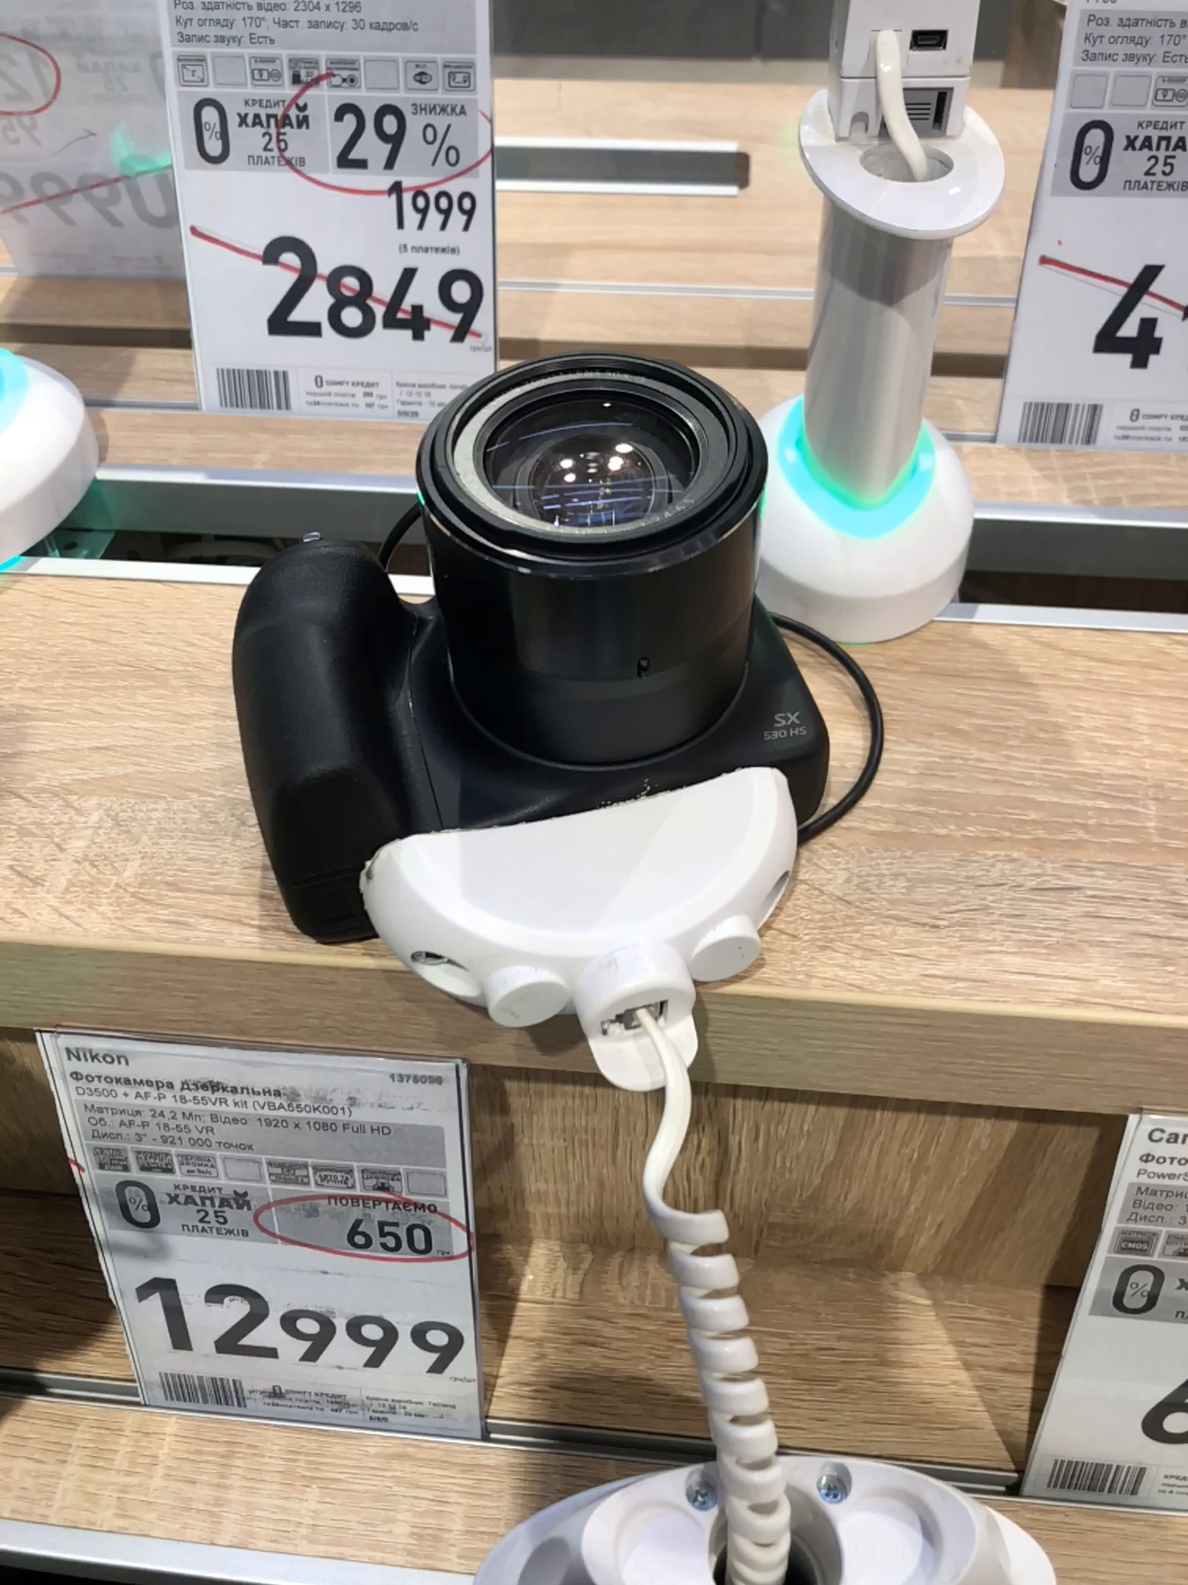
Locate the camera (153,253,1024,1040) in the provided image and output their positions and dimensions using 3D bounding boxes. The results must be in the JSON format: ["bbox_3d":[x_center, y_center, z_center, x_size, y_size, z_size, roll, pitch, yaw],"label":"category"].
[{"bbox_3d":[-0.008,-0.033,0.274,0.133,0.090,0.107,-12,53,-10],"label":"camera"}]
